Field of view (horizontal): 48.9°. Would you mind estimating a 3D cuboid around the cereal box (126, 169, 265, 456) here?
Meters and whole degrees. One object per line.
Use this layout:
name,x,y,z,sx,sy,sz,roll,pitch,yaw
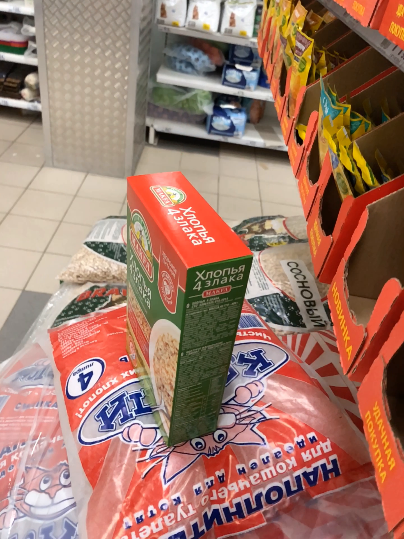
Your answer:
cereal box,-0.022,0.039,0.397,0.050,0.209,0.141,-11,41,-23
